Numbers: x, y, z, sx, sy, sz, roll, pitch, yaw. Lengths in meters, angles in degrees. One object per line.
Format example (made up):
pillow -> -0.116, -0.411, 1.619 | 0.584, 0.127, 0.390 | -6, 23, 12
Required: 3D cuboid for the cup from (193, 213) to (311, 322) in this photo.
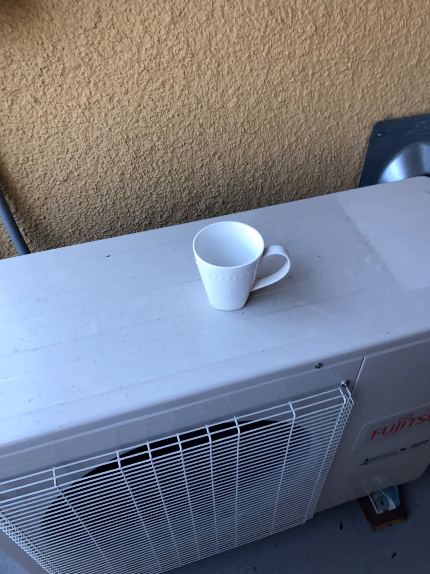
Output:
cup -> 0.044, -0.027, 0.654 | 0.140, 0.100, 0.100 | -4, 45, -4
